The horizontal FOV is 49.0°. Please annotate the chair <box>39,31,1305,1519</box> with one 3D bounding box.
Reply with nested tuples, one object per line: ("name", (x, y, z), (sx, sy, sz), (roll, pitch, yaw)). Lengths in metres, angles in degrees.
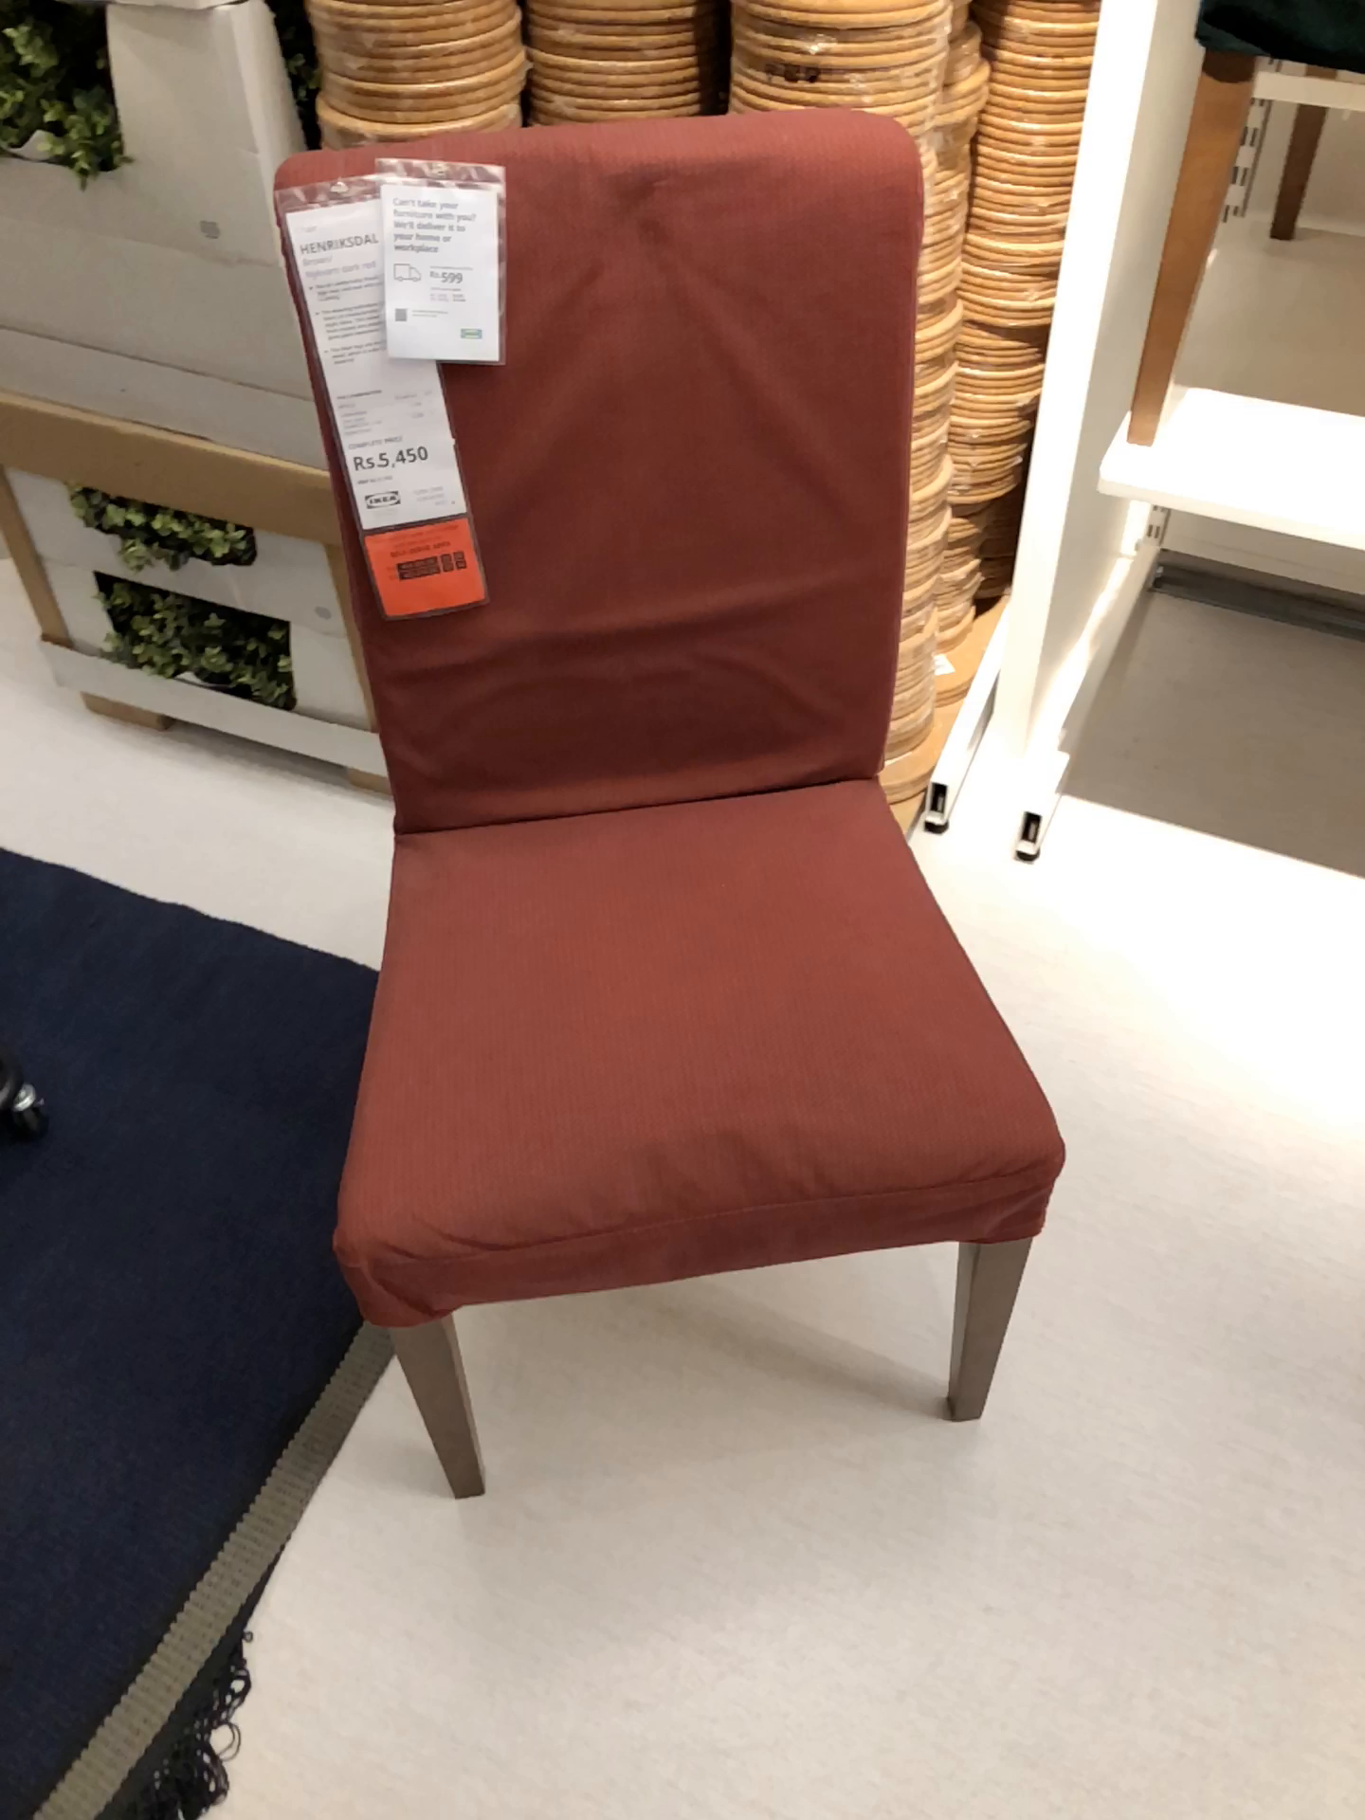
("chair", (-0.018, -0.018, 1.158), (0.520, 0.994, 0.533), (-7, 48, -4))
